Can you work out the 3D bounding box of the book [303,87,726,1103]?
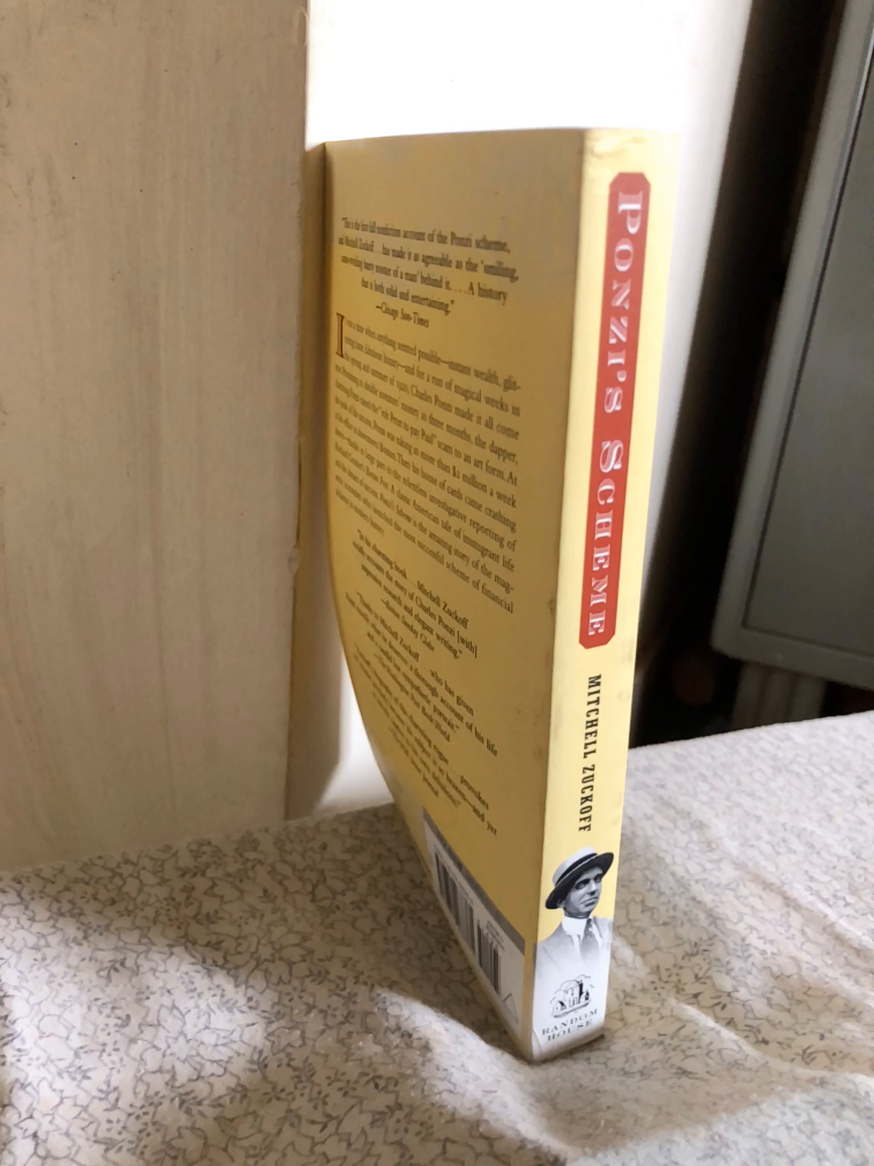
[{"bbox_3d":[0.003,-0.006,0.252,0.040,0.209,0.140,-7,24,-17],"label":"book"}]
